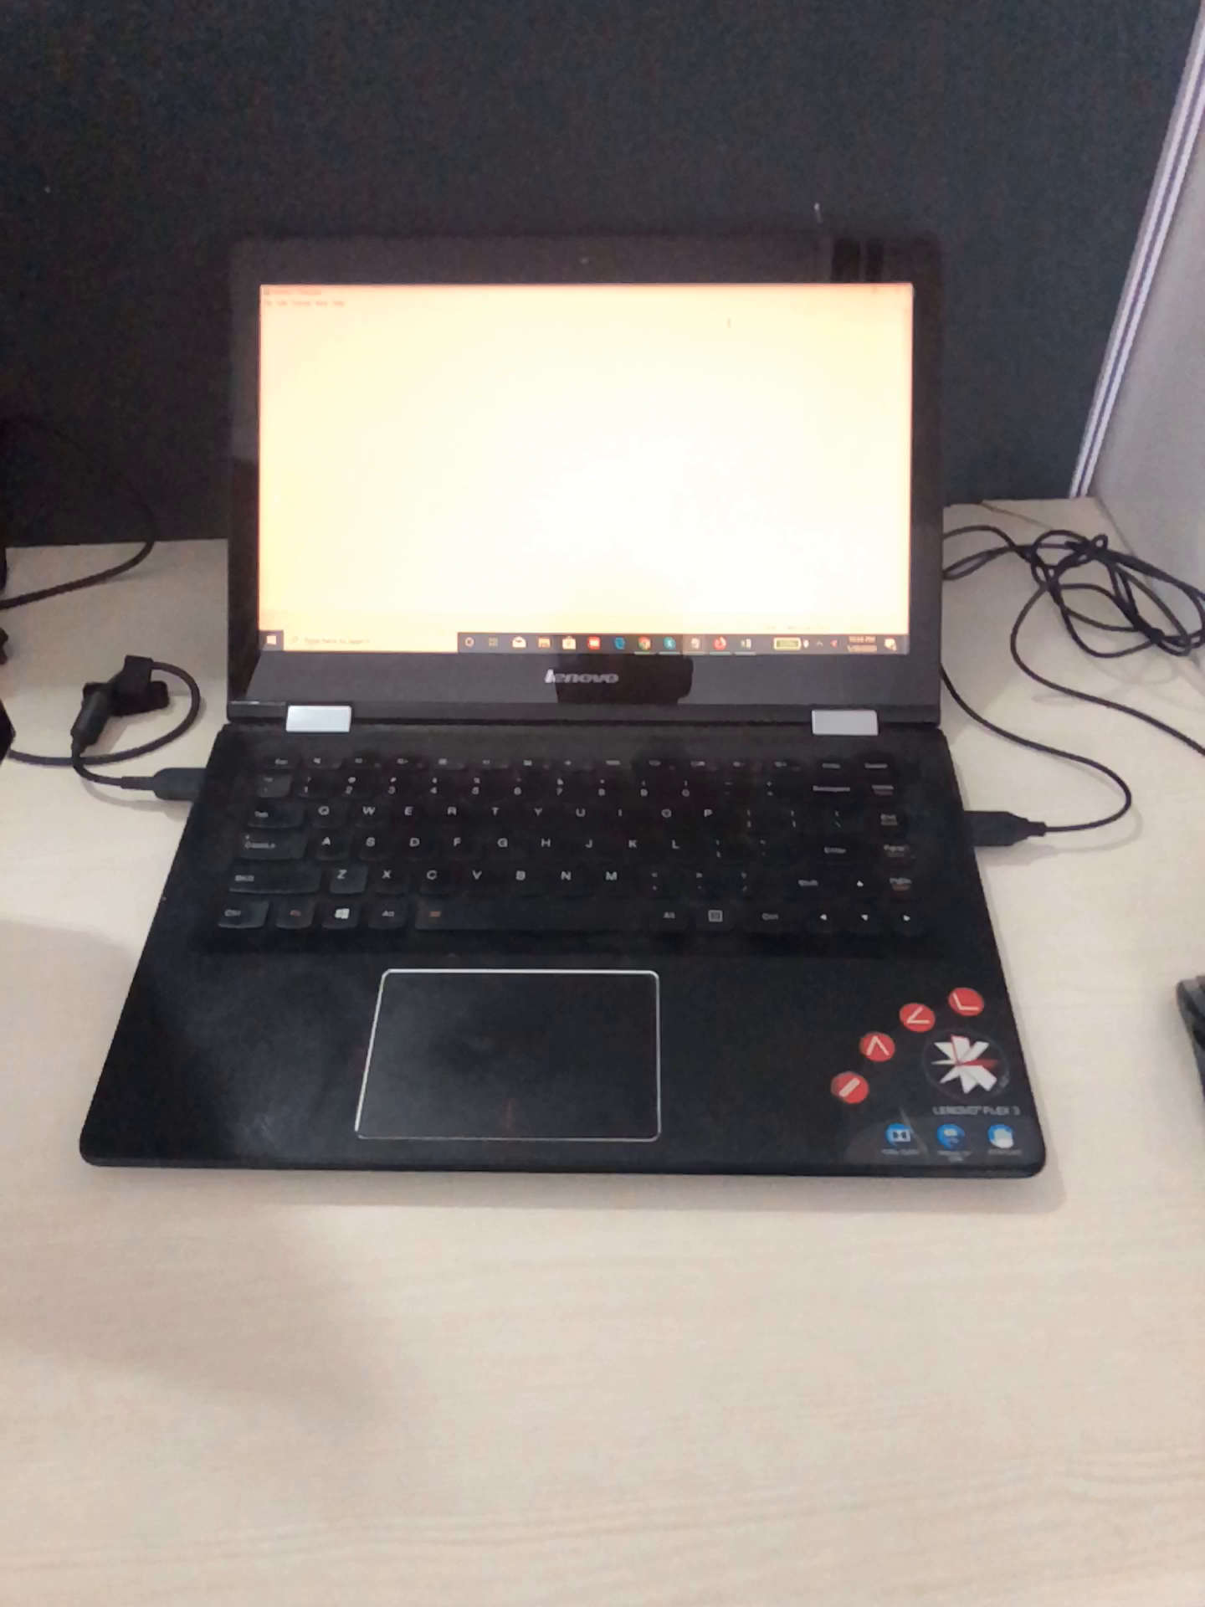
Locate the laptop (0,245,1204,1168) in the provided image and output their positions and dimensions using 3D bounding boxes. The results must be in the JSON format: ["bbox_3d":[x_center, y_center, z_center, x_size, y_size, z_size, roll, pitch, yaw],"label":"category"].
[{"bbox_3d":[-0.012,-0.070,0.538,0.334,0.170,0.388,0,43,1],"label":"laptop"}]
